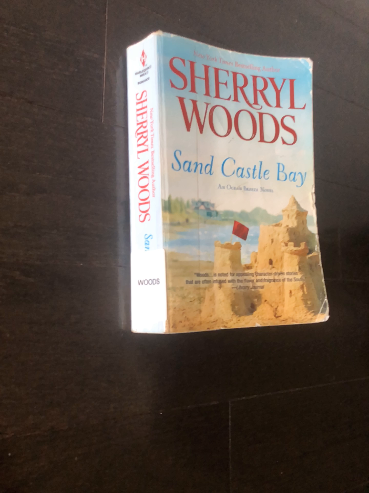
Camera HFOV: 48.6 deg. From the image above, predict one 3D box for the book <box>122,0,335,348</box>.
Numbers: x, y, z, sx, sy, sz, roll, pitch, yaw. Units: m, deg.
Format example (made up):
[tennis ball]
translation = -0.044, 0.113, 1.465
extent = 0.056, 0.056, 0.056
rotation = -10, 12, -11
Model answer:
[book]
translation = 0.028, -0.033, 0.233
extent = 0.120, 0.037, 0.161
rotation = 1, 86, -31
